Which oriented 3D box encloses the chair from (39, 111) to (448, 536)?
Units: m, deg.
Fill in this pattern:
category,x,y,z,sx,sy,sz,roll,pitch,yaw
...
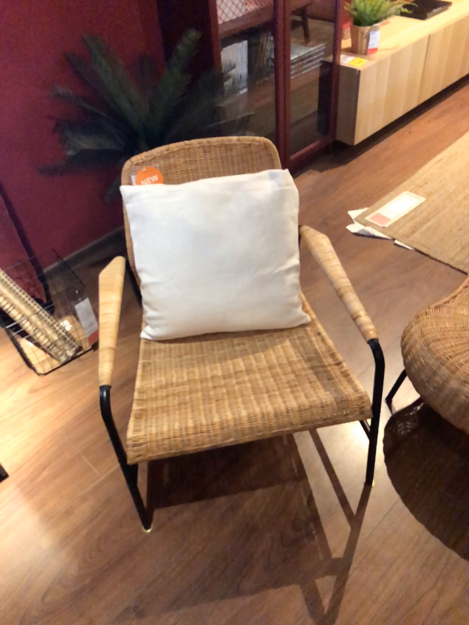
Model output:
category,x,y,z,sx,sy,sz,roll,pitch,yaw
chair,-0.009,0.019,1.313,0.670,0.705,0.664,-11,44,-5
